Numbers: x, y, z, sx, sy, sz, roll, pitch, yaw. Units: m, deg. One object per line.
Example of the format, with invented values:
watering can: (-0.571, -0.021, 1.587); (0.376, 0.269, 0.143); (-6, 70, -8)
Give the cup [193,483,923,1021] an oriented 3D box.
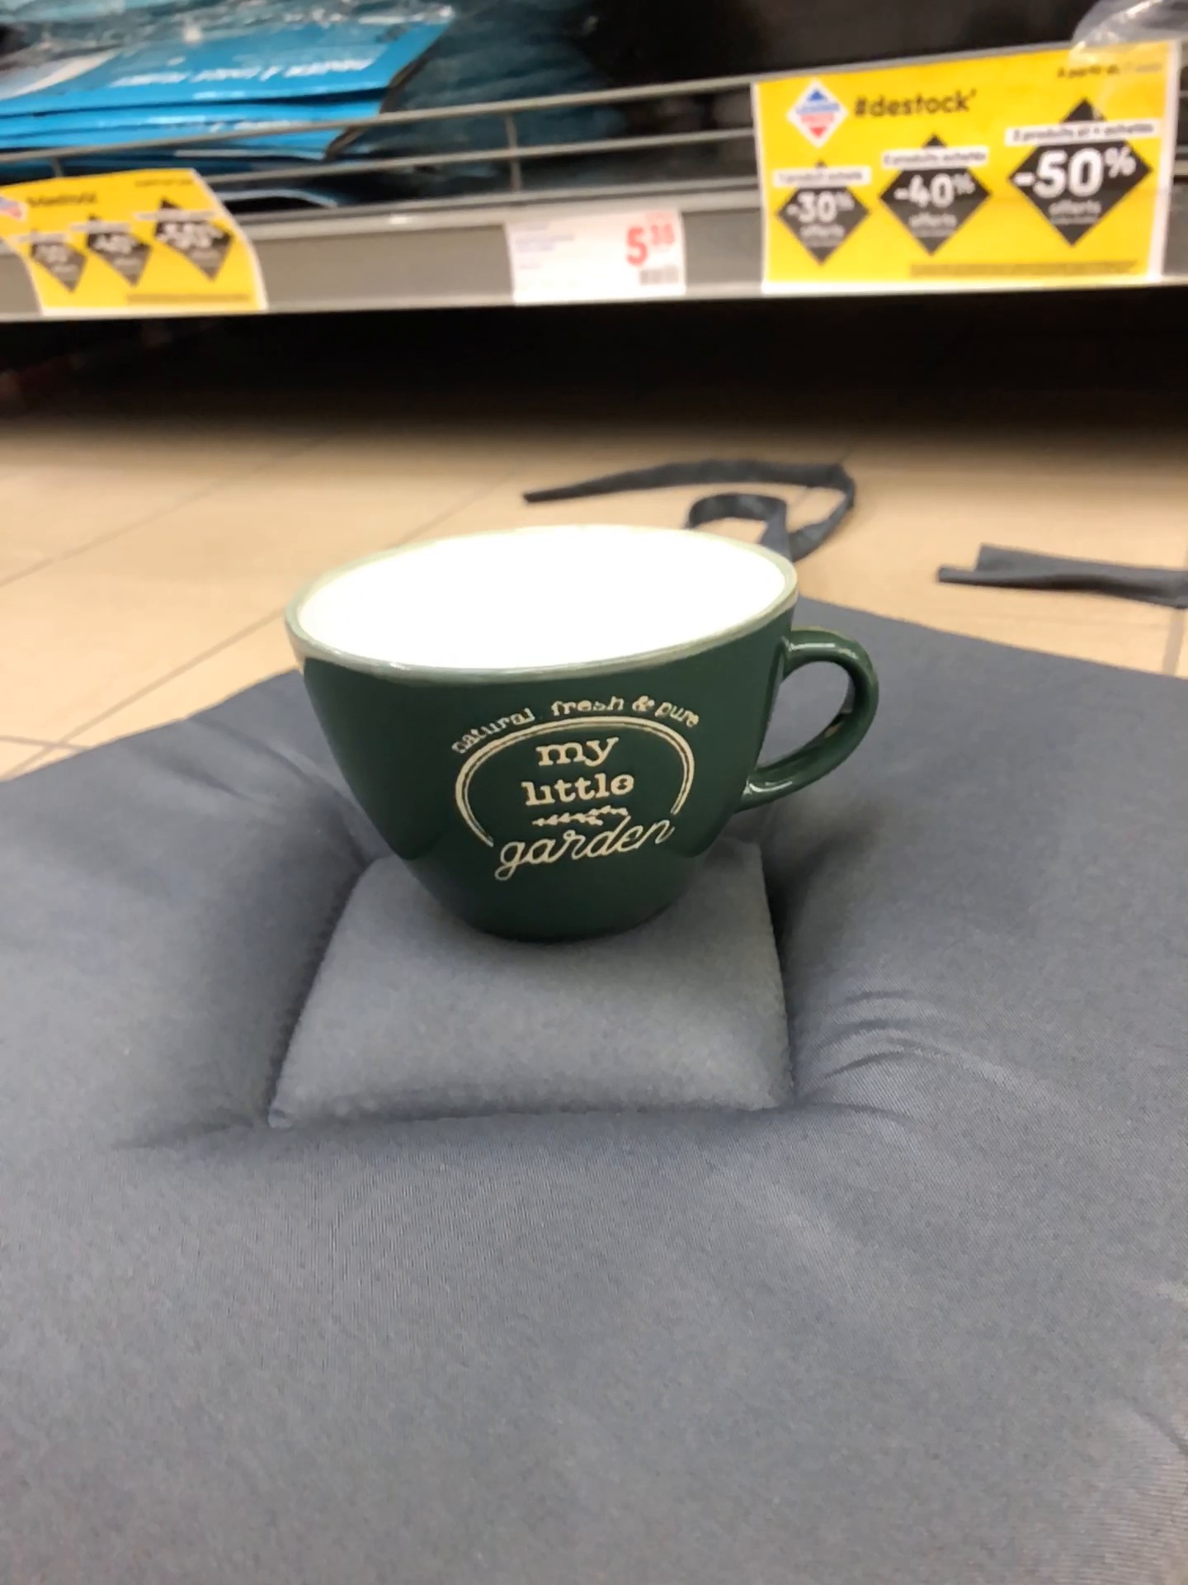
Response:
cup: (-0.008, -0.018, 0.300); (0.130, 0.060, 0.121); (-5, 28, 3)
